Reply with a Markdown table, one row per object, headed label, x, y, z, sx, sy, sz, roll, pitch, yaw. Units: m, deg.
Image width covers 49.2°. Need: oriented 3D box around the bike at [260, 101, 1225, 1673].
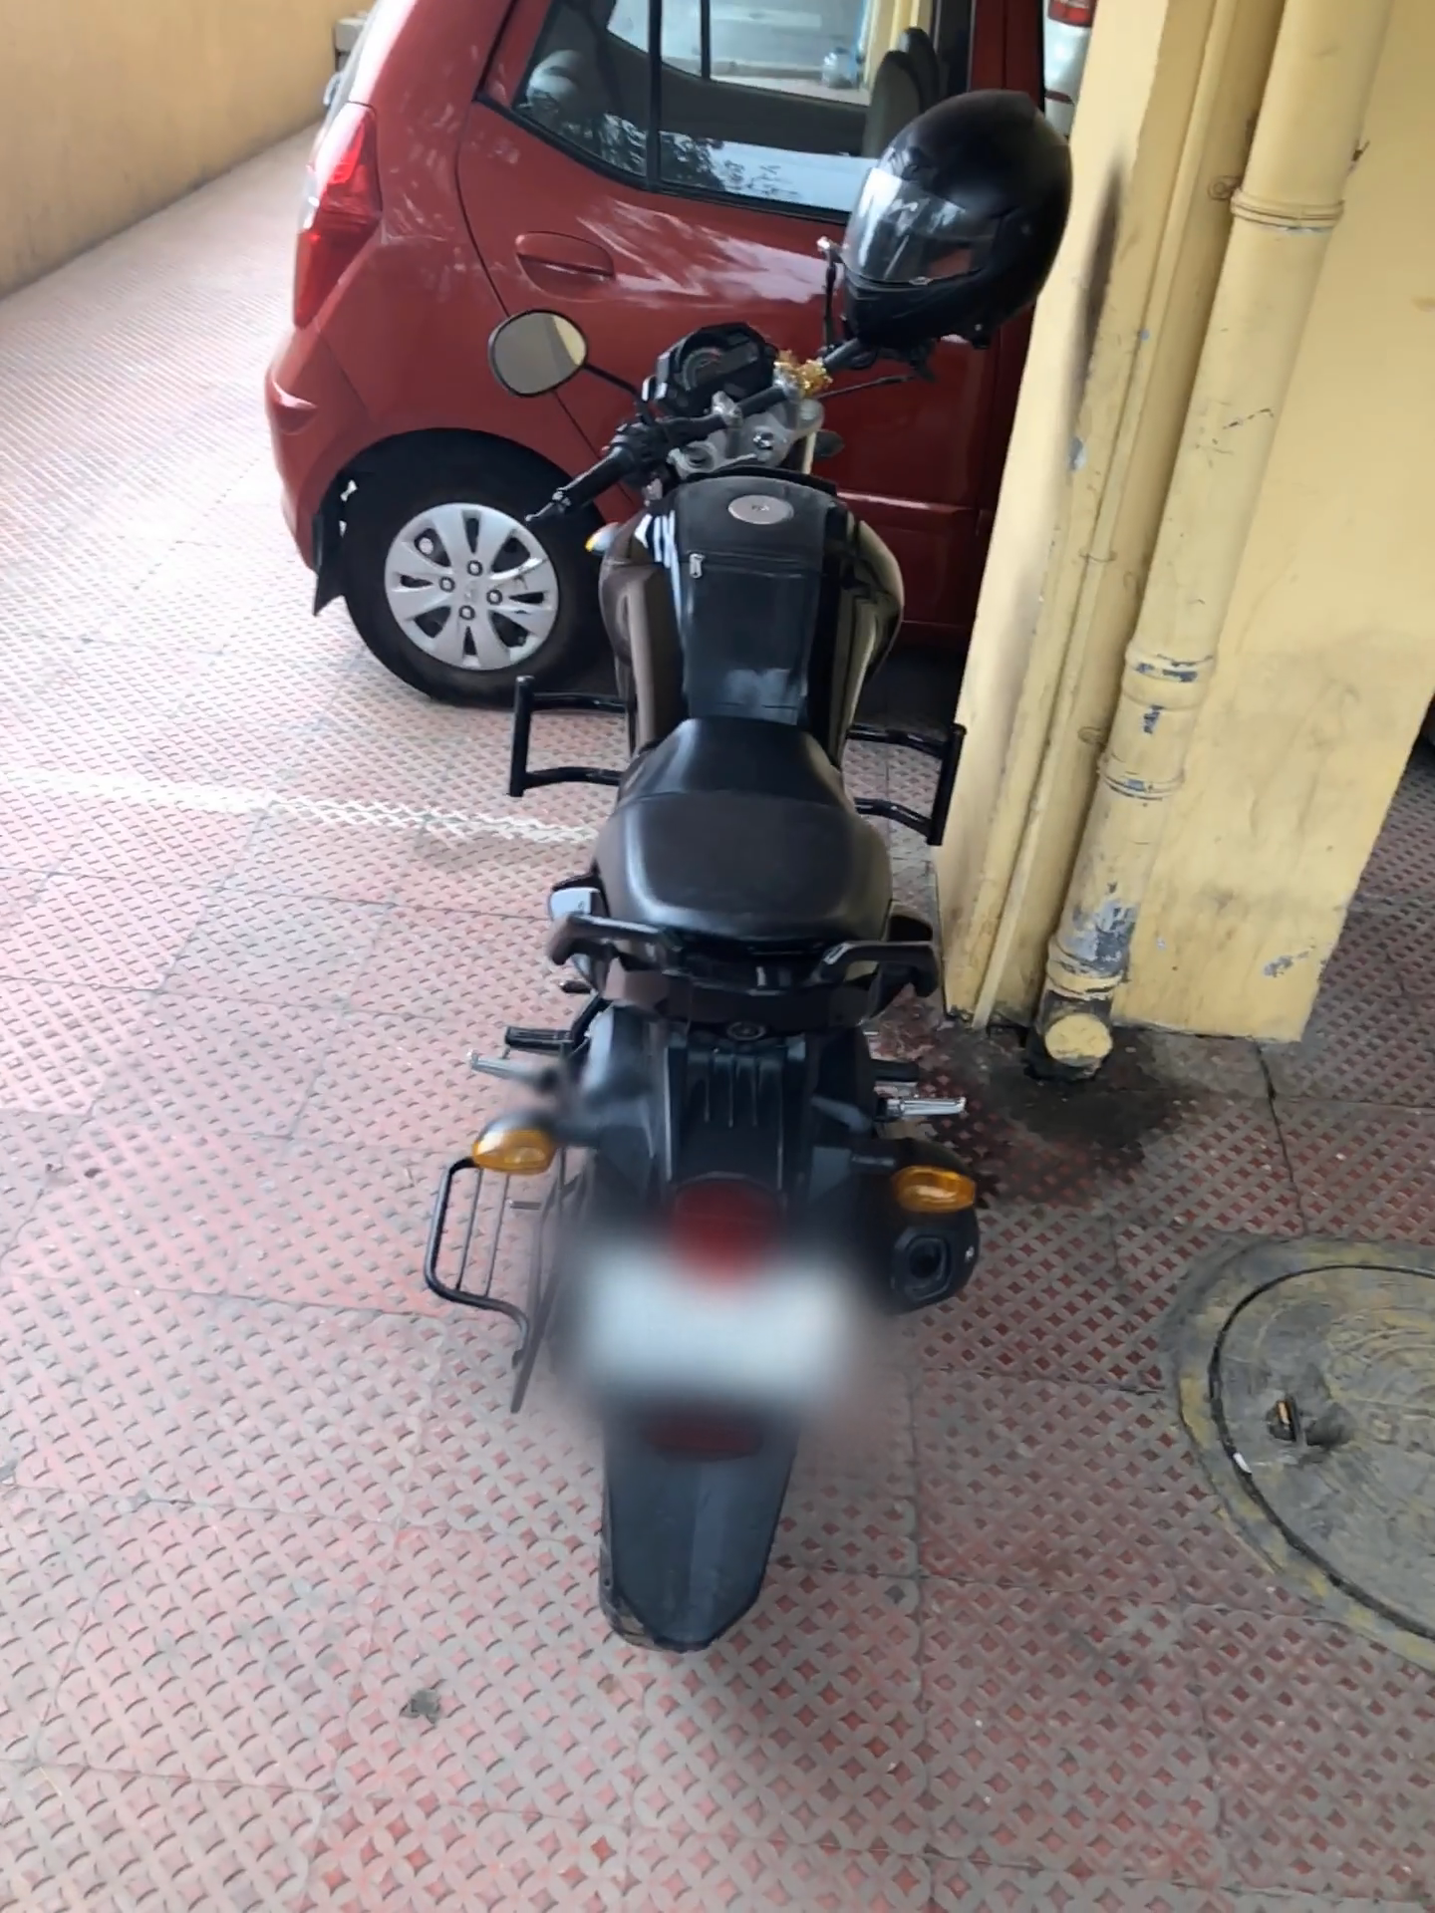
| label | x | y | z | sx | sy | sz | roll | pitch | yaw |
| --- | --- | --- | --- | --- | --- | --- | --- | --- | --- |
| bike | -0.106 | -0.276 | 1.994 | 0.609 | 1.052 | 1.808 | 1 | 38 | -7 |
